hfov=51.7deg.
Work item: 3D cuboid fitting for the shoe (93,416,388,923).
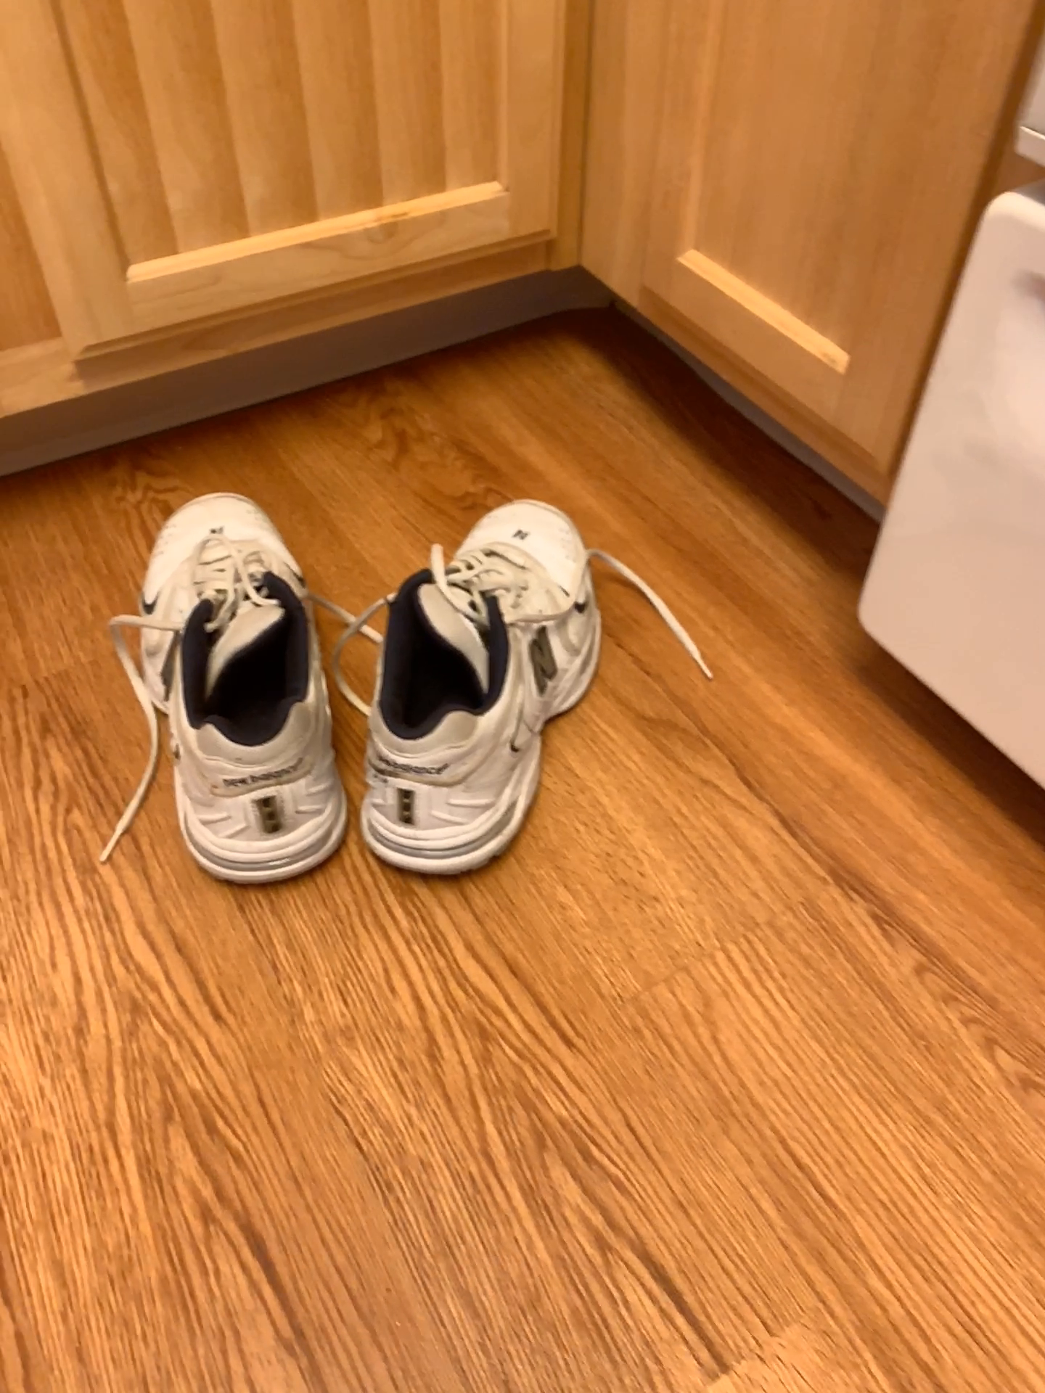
[{"bbox_3d":[-0.169,-0.030,0.625,0.110,0.109,0.281,-13,49,-13],"label":"shoe"}]

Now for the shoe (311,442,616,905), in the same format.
[{"bbox_3d":[-0.024,-0.028,0.682,0.110,0.109,0.281,10,48,8],"label":"shoe"}]
